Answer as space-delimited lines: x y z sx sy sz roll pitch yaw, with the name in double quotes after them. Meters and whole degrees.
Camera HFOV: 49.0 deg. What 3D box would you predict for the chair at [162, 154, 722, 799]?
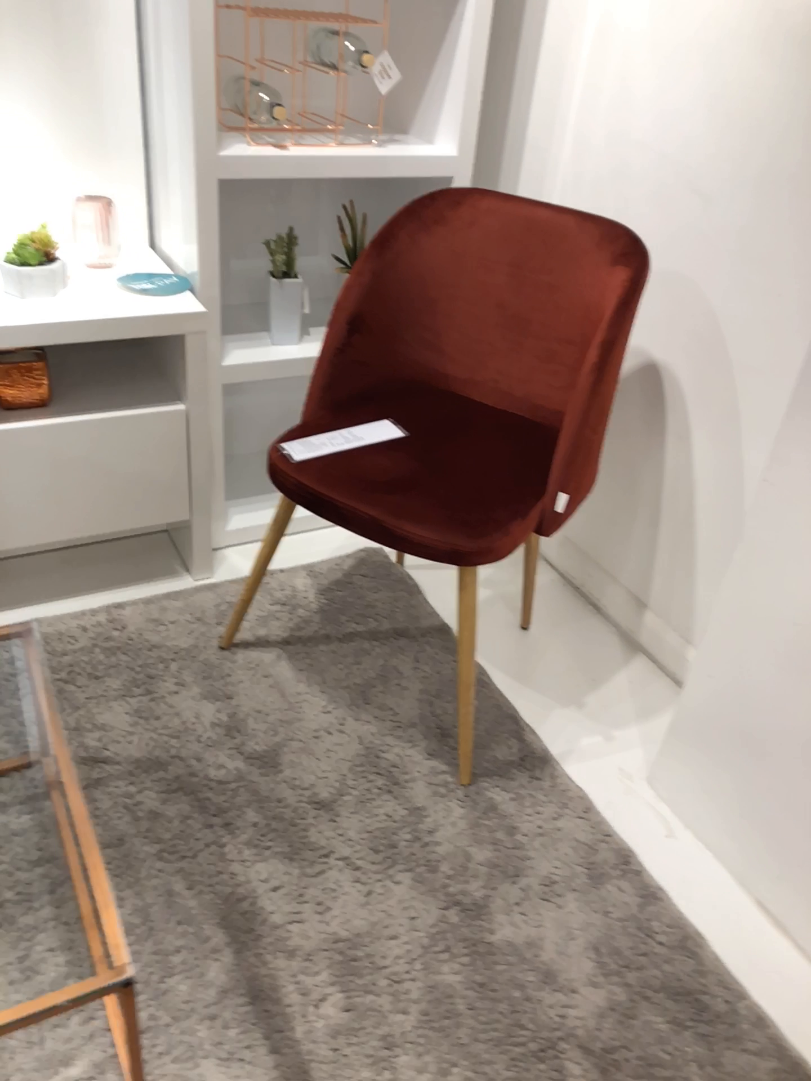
0.061 -0.163 1.492 0.591 0.734 0.655 21 36 21 "chair"
